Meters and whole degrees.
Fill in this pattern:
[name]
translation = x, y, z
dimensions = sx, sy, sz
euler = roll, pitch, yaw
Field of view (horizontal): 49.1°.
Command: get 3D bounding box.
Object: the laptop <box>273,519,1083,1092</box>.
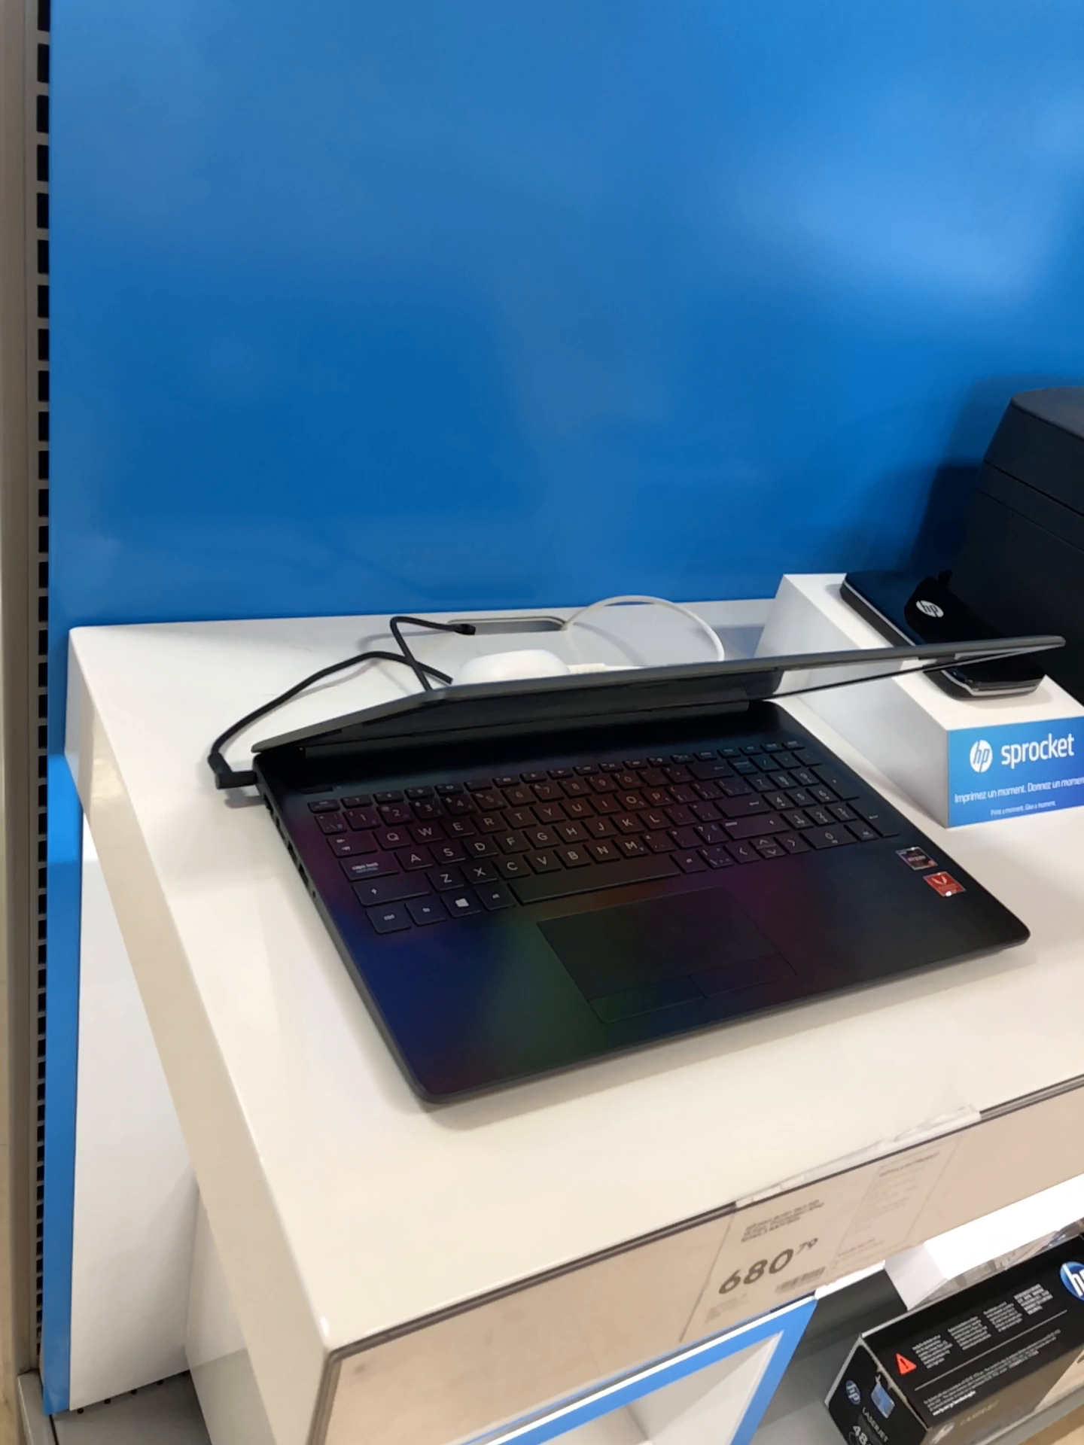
[laptop]
translation = 0.080, 0.008, 0.604
dimensions = 0.356, 0.130, 0.243
euler = -6, 34, -33
